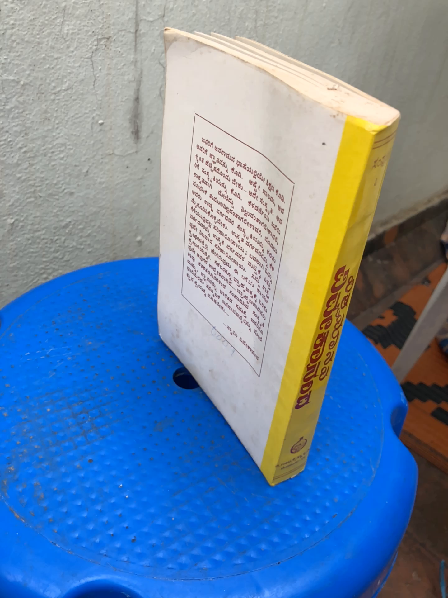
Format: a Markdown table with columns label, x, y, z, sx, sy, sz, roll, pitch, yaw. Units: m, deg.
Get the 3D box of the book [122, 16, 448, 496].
| label | x | y | z | sx | sy | sz | roll | pitch | yaw |
| --- | --- | --- | --- | --- | --- | --- | --- | --- | --- |
| book | 0.005 | -0.031 | 0.287 | 0.050 | 0.199 | 0.191 | -16 | 43 | -26 |
